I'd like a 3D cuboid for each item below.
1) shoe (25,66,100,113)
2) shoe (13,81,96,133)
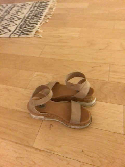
[{"bbox_3d":[0.007,0.021,0.583,0.280,0.119,0.111,8,51,16],"label":"shoe"},{"bbox_3d":[-0.024,0.085,0.530,0.280,0.109,0.111,9,51,16],"label":"shoe"}]
